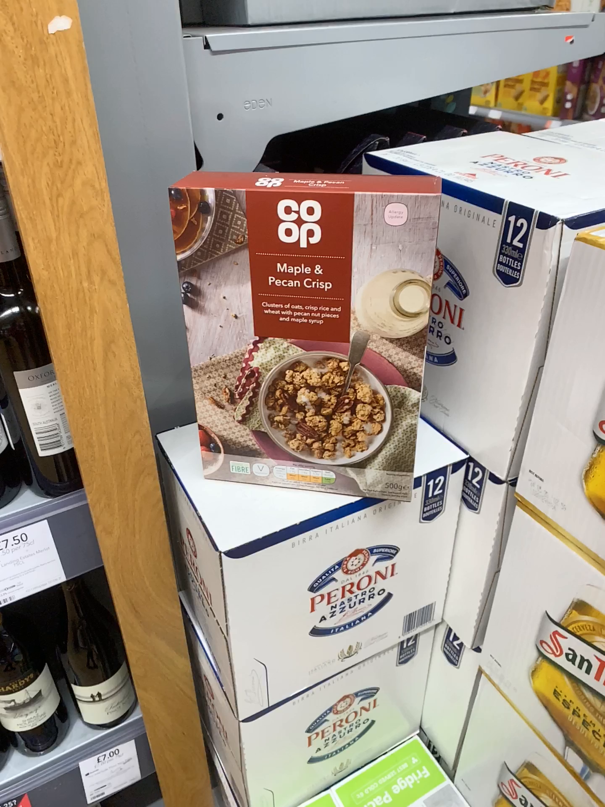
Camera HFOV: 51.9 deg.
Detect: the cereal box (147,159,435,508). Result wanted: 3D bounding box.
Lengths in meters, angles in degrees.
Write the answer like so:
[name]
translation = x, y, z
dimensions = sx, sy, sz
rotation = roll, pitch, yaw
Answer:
[cereal box]
translation = -0.003, -0.046, 0.469
dimensions = 0.180, 0.248, 0.061
rotation = 4, 31, 9
